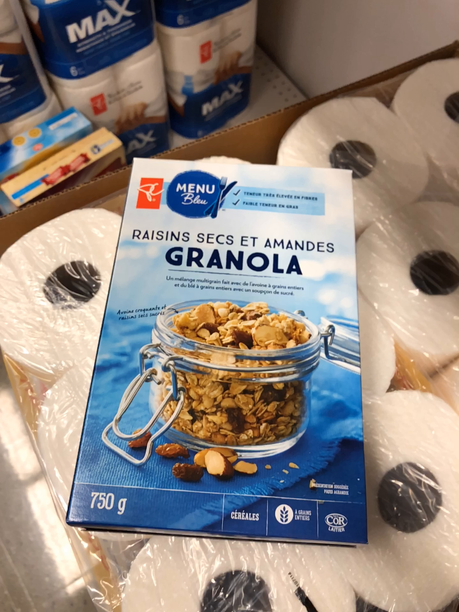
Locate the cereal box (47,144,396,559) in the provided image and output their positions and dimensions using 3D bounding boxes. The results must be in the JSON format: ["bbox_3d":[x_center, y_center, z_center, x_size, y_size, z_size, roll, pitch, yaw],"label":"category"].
[{"bbox_3d":[0.004,0.017,0.332,0.170,0.060,0.250,4,64,1],"label":"cereal box"}]
